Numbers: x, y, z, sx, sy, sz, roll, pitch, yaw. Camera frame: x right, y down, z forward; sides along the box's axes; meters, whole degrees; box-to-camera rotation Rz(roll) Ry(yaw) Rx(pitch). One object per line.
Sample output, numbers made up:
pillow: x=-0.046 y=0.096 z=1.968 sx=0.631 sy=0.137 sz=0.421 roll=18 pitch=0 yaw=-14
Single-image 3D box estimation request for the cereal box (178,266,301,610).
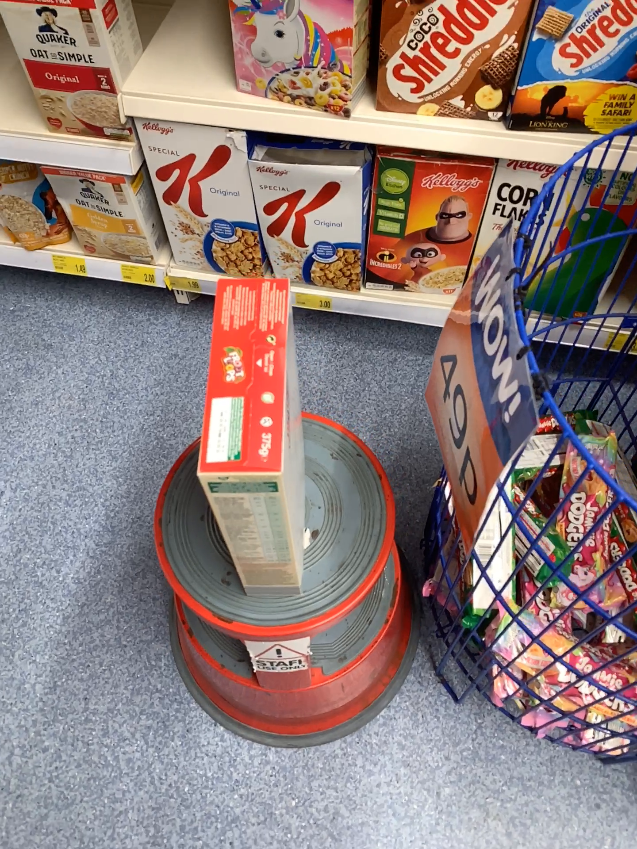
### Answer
cereal box: x=-0.058 y=0.031 z=0.614 sx=0.070 sy=0.288 sz=0.212 roll=0 pitch=59 yaw=1
